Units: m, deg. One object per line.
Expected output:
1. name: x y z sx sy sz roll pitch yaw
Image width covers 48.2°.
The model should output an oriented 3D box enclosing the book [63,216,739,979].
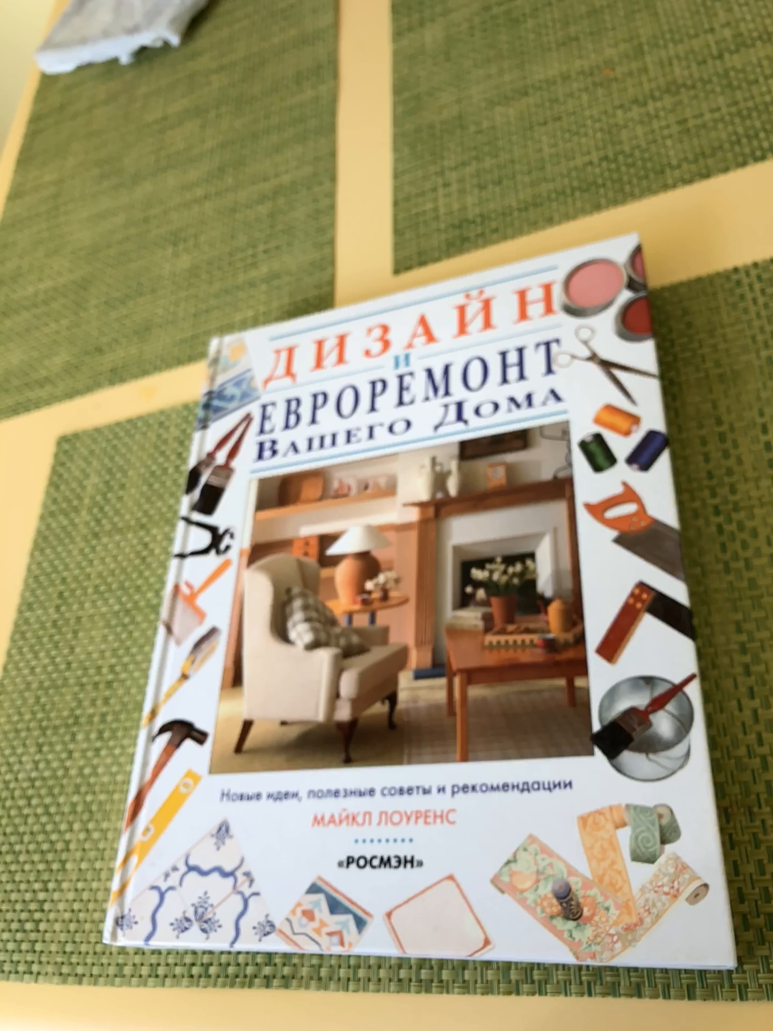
1. book: 0.003 0.020 0.340 0.213 0.038 0.276 -9 59 20
